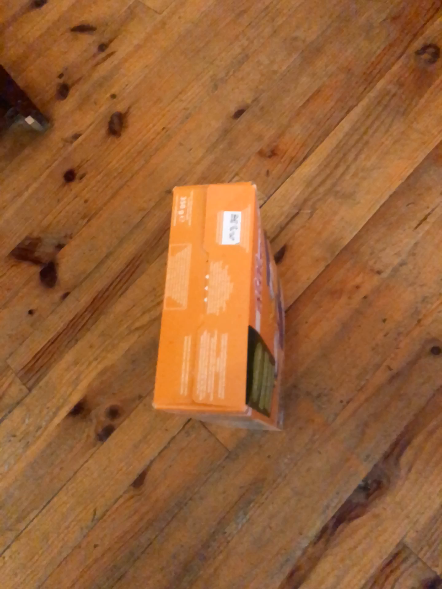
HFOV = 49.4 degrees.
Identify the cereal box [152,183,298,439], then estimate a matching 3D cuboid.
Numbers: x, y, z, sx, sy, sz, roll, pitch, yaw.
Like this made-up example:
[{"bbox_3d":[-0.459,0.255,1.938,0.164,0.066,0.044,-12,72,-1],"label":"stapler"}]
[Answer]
[{"bbox_3d":[0.029,0.047,0.526,0.090,0.300,0.200,-1,72,13],"label":"cereal box"}]
